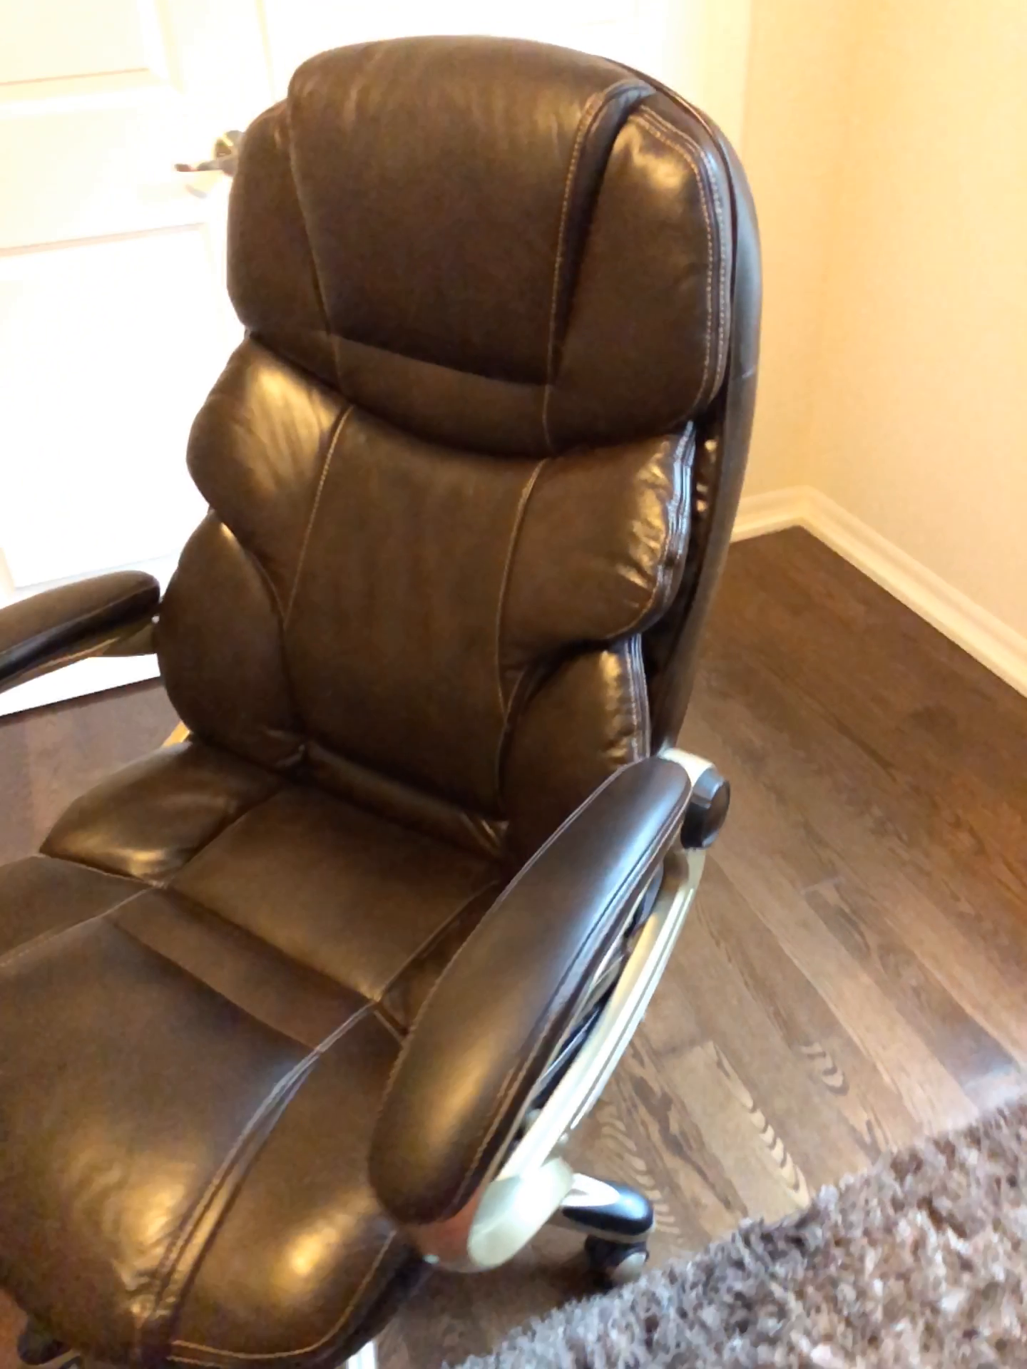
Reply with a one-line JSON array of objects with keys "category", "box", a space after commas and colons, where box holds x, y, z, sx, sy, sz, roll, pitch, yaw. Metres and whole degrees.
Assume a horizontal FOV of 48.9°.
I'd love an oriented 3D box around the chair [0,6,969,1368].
[{"category": "chair", "box": [-0.217, 0.131, 0.963, 0.732, 1.135, 0.741, 22, 43, 30]}]
